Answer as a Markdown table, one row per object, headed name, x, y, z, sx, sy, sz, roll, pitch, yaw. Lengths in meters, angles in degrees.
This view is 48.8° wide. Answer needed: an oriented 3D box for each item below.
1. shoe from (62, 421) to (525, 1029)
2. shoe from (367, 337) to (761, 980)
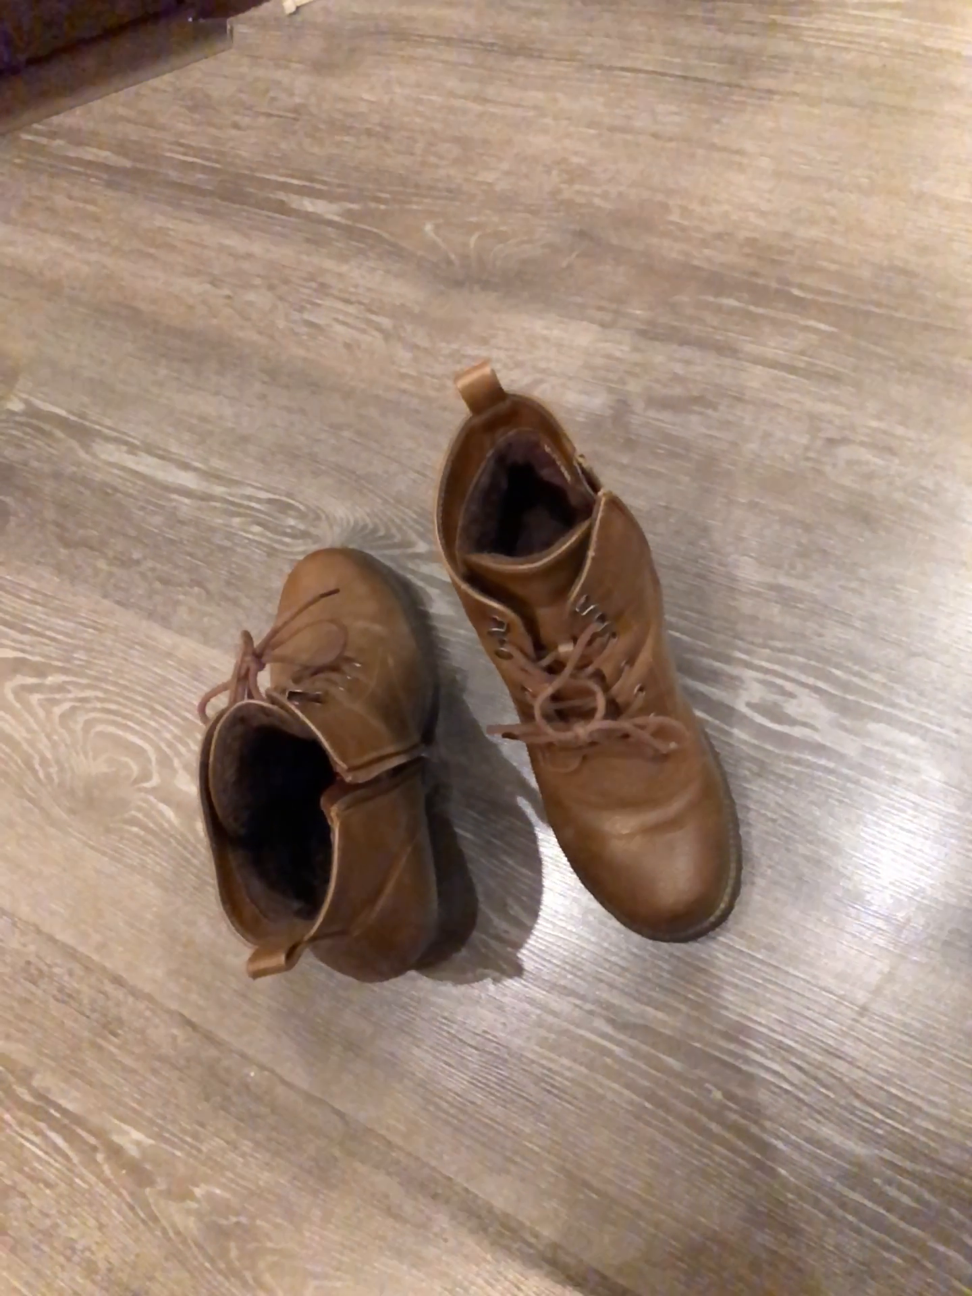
| name | x | y | z | sx | sy | sz | roll | pitch | yaw |
| --- | --- | --- | --- | --- | --- | --- | --- | --- | --- |
| shoe | -0.083 | 0.043 | 0.498 | 0.100 | 0.170 | 0.220 | -21 | 71 | 11 |
| shoe | 0.043 | 0.019 | 0.471 | 0.090 | 0.190 | 0.220 | -15 | 72 | 13 |
